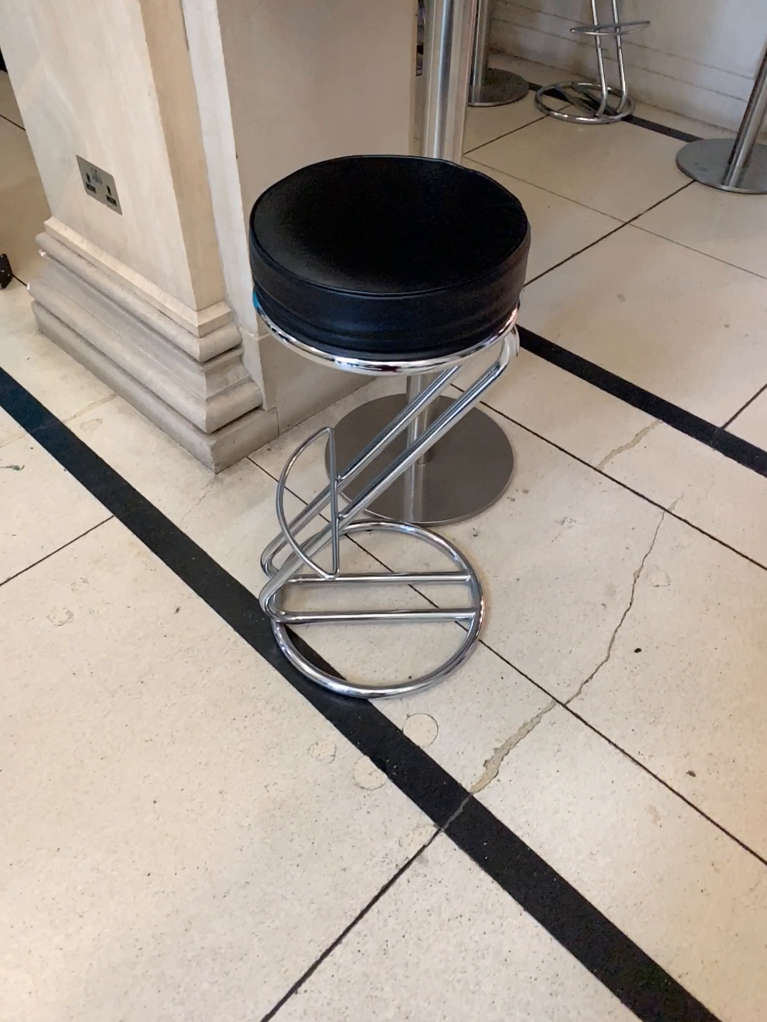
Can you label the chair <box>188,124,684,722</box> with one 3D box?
[{"bbox_3d":[0.042,-0.092,1.244,0.503,0.812,0.468,-4,47,-3],"label":"chair"}]
